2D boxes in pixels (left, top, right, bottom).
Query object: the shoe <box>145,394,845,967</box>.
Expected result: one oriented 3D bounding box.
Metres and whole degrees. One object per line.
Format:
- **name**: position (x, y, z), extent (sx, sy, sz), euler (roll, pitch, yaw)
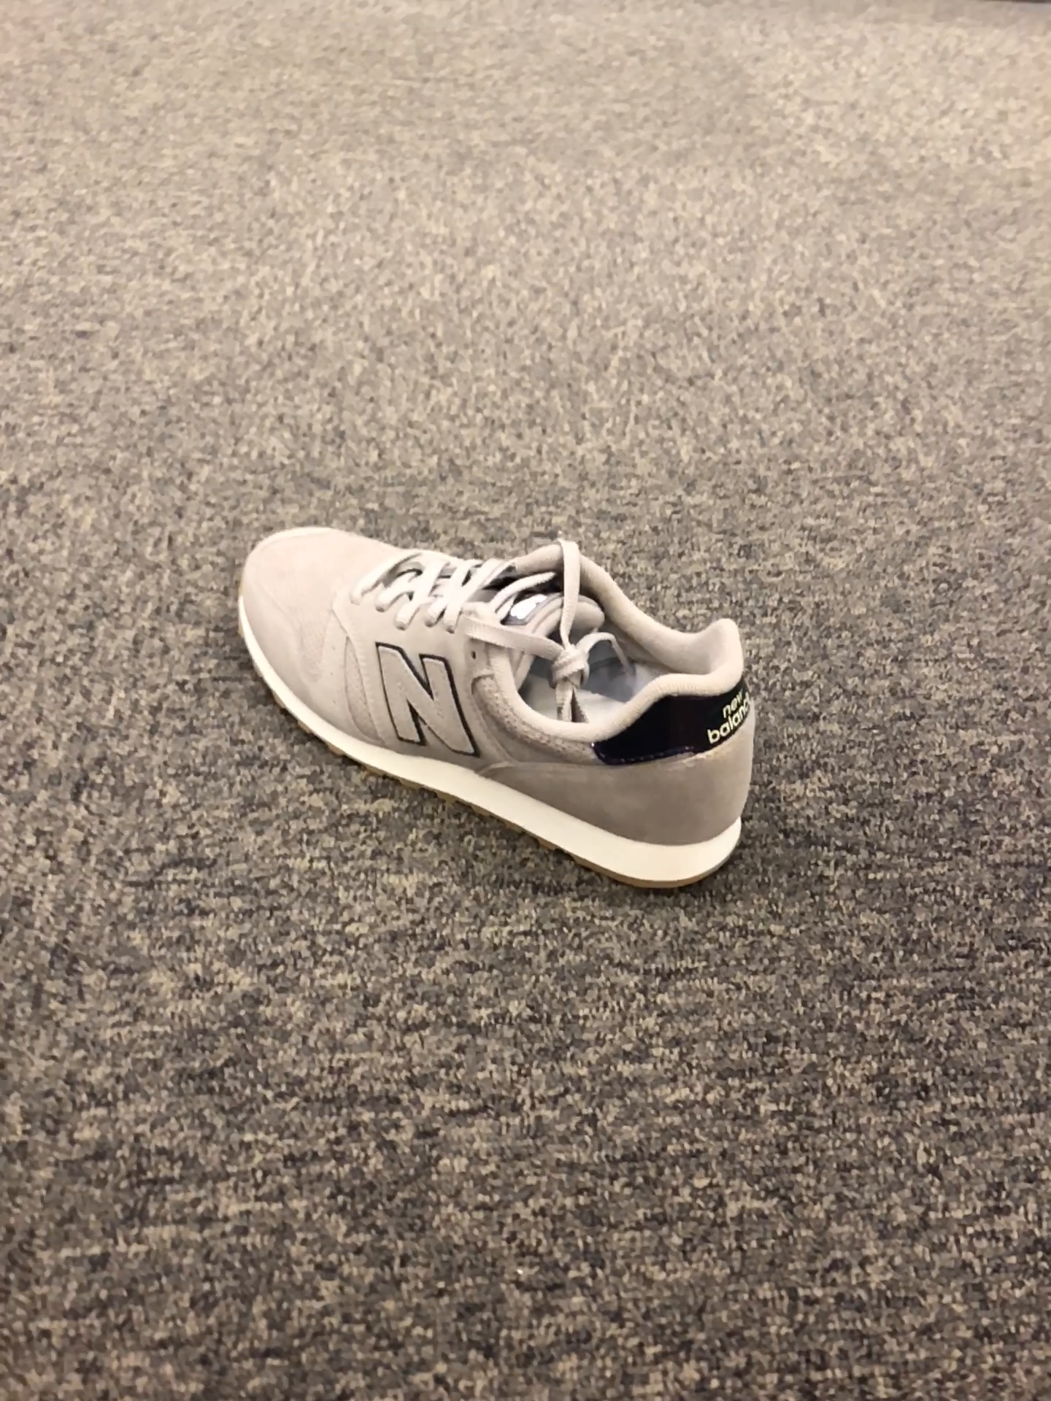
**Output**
- **shoe**: position (-0.020, -0.019, 0.485), extent (0.260, 0.109, 0.101), euler (26, 48, 22)
